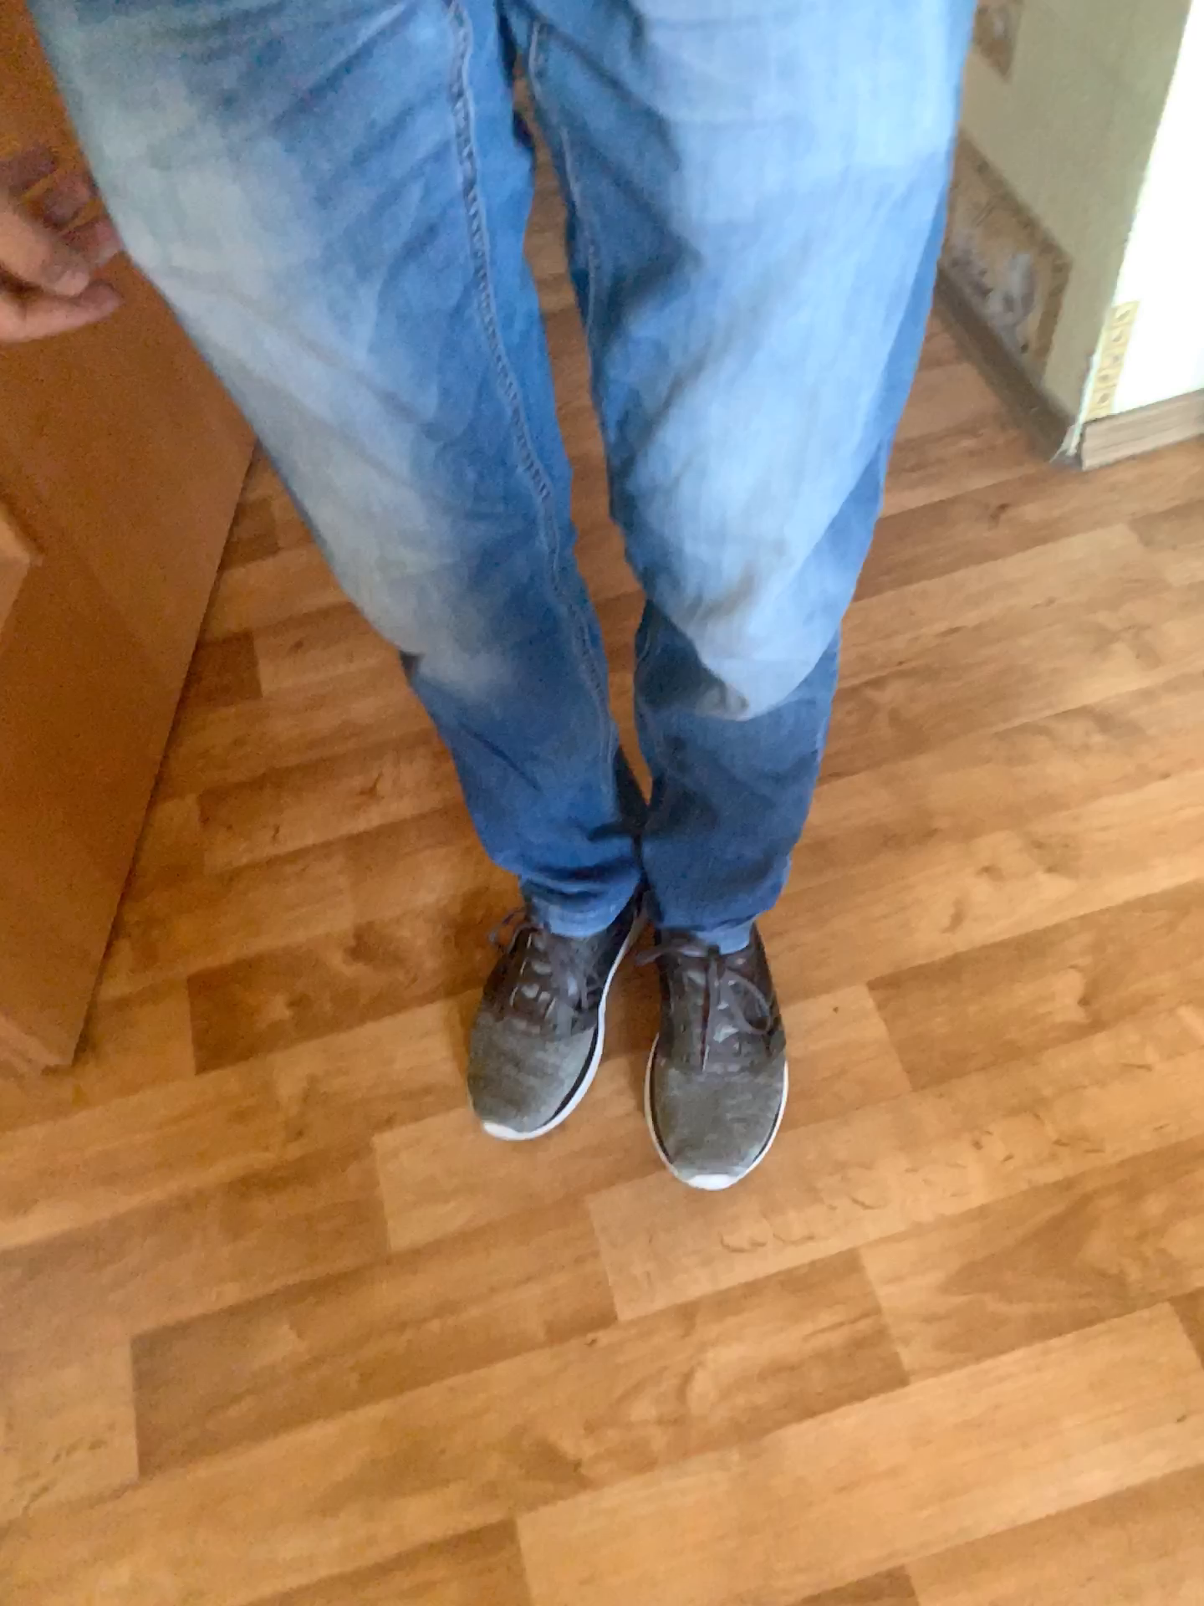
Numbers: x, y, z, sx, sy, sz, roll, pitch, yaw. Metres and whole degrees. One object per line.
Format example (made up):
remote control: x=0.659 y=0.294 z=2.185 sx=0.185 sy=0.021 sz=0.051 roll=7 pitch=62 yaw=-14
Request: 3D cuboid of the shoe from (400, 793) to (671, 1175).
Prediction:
shoe: x=-0.045 y=0.146 z=1.029 sx=0.124 sy=0.100 sz=0.280 roll=14 pitch=60 yaw=15

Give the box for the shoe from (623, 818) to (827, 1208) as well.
shoe: x=0.095 y=0.167 z=1.000 sx=0.134 sy=0.100 sz=0.291 roll=-5 pitch=57 yaw=4
